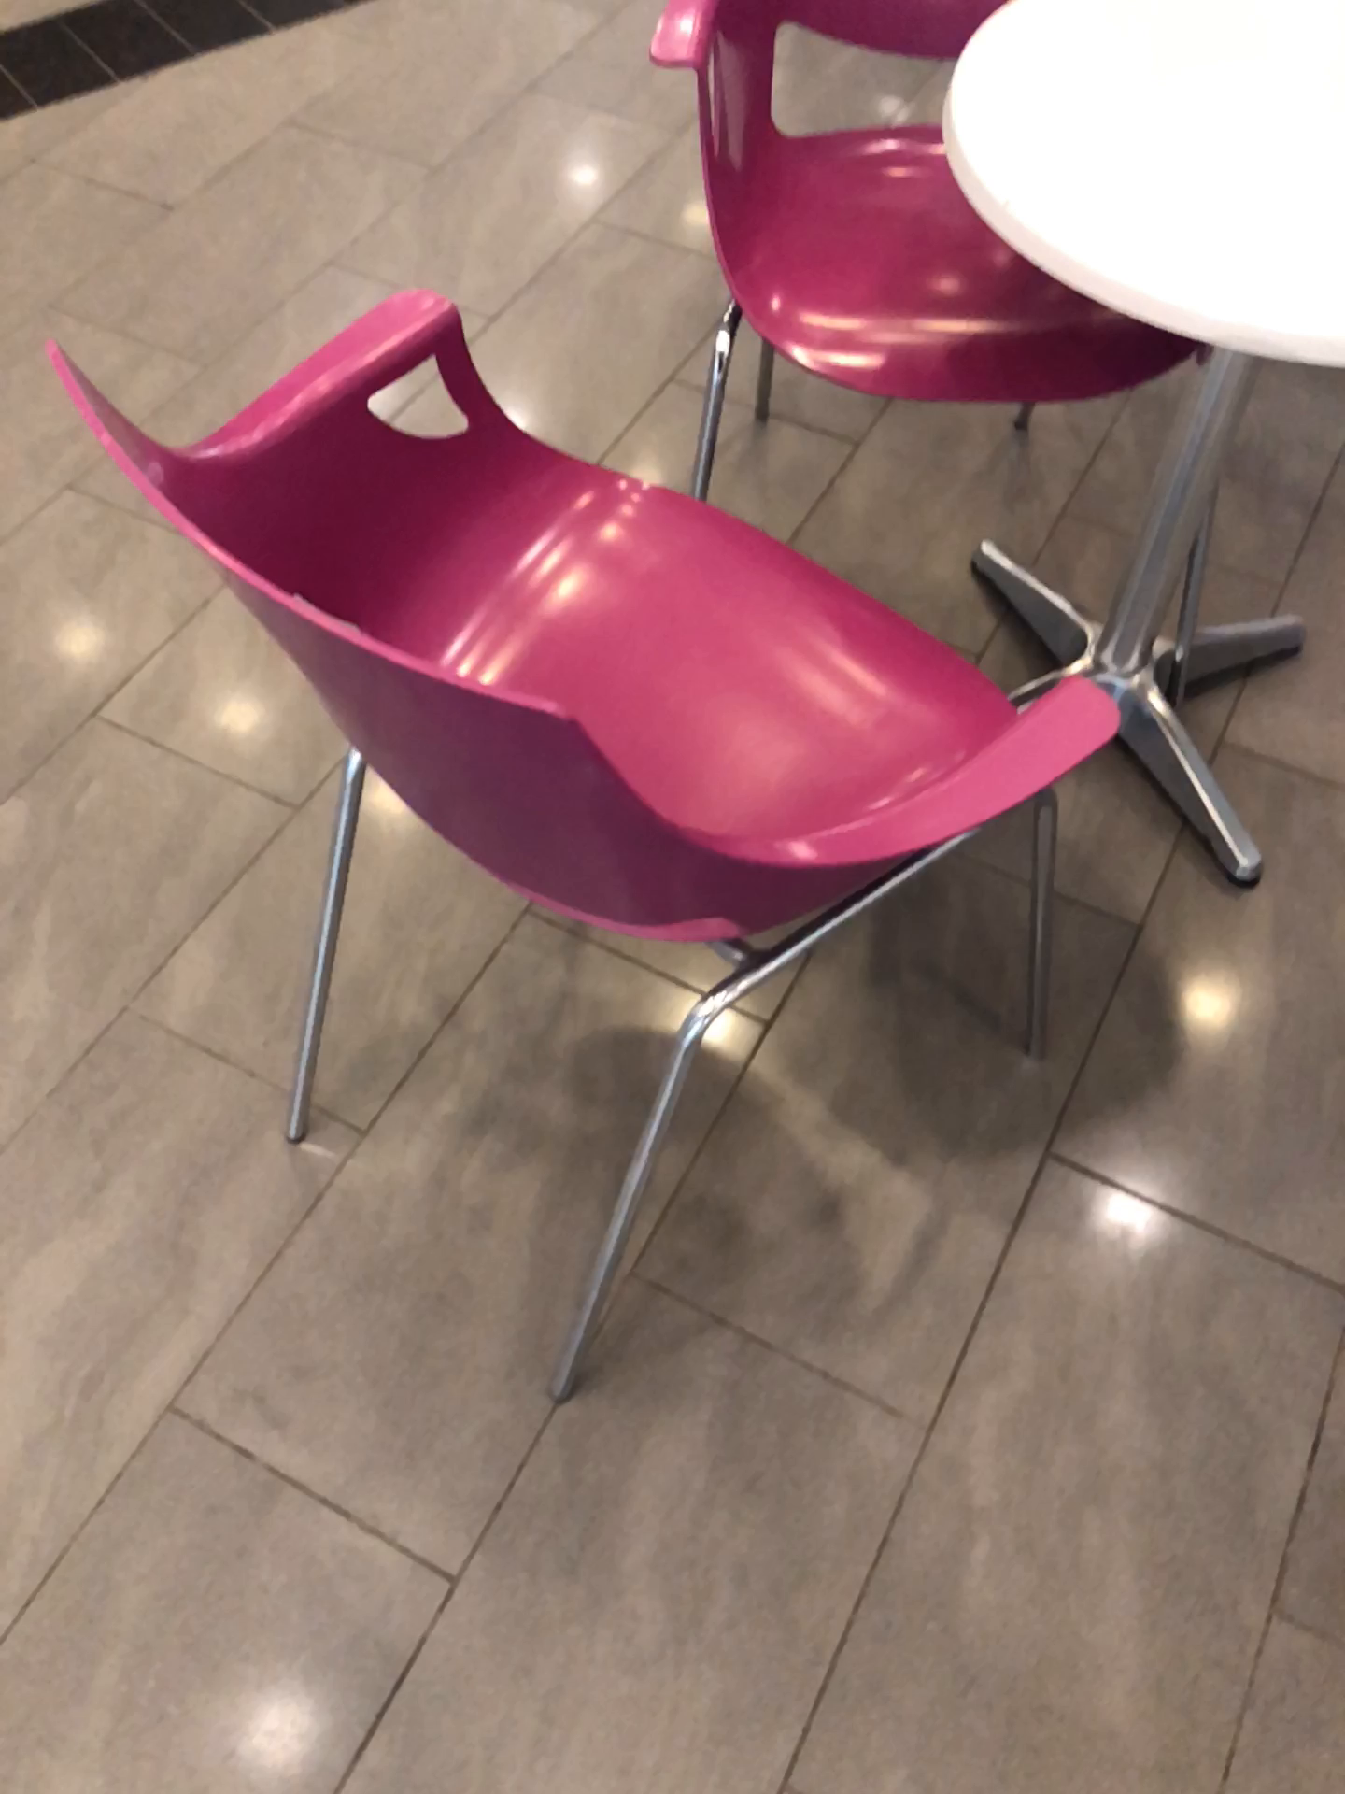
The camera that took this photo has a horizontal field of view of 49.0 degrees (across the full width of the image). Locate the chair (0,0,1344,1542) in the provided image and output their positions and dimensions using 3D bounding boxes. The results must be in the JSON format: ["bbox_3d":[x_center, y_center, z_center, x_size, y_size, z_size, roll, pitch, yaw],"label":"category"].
[{"bbox_3d":[-0.010,-0.086,1.149,0.621,0.838,0.671,37,63,25],"label":"chair"}]
